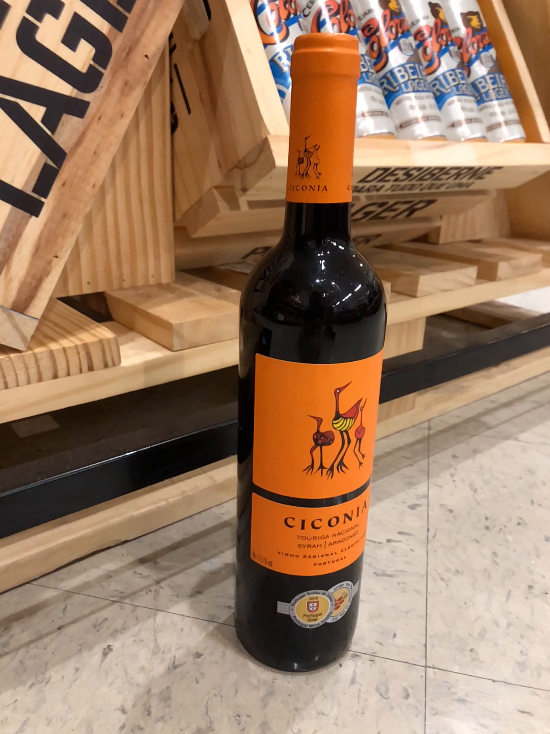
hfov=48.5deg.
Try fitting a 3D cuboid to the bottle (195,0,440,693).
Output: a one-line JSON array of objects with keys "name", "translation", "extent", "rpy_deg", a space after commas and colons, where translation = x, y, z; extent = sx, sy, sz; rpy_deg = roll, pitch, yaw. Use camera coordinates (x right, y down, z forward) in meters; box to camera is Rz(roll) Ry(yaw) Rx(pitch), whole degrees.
[{"name": "bottle", "translation": [0.009, 0.005, 0.311], "extent": [0.080, 0.318, 0.070], "rpy_deg": [-7, 22, -23]}]
